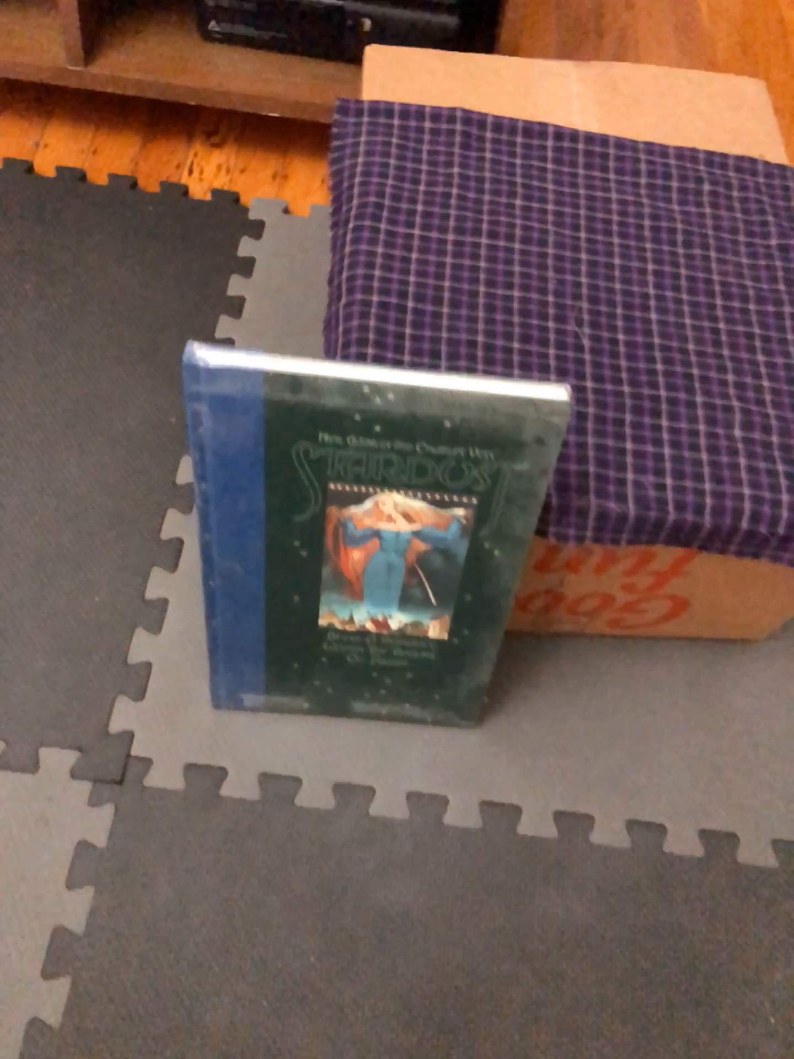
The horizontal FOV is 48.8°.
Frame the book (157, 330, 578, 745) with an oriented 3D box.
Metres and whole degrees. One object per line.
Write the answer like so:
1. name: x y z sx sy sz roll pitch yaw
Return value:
1. book: -0.028 0.031 0.557 0.210 0.329 0.020 5 44 -2
